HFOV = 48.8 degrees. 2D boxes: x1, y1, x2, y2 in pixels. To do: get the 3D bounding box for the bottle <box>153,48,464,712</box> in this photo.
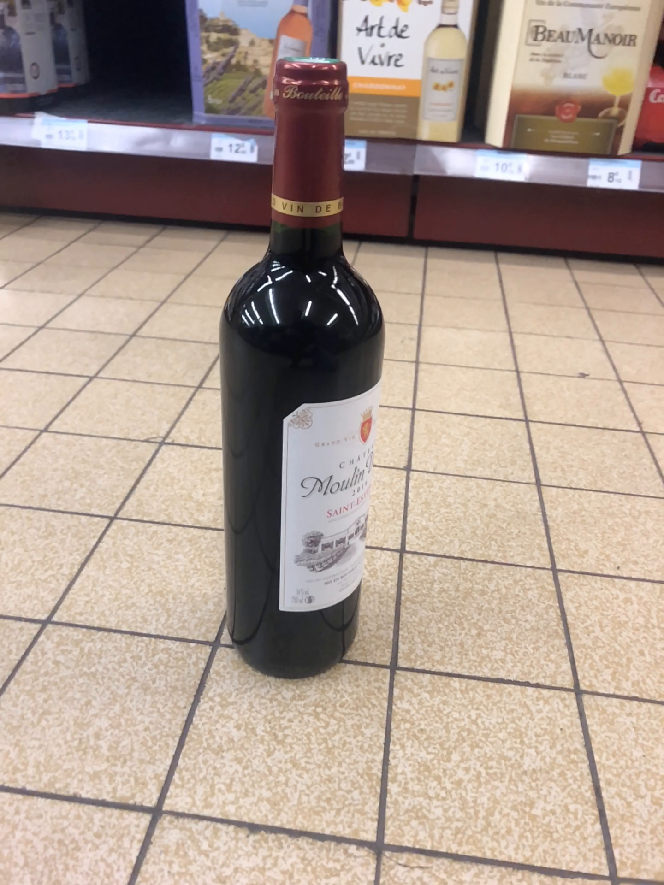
[{"bbox_3d":[-0.013,-0.018,0.335,0.080,0.281,0.080,2,30,-1],"label":"bottle"}]
